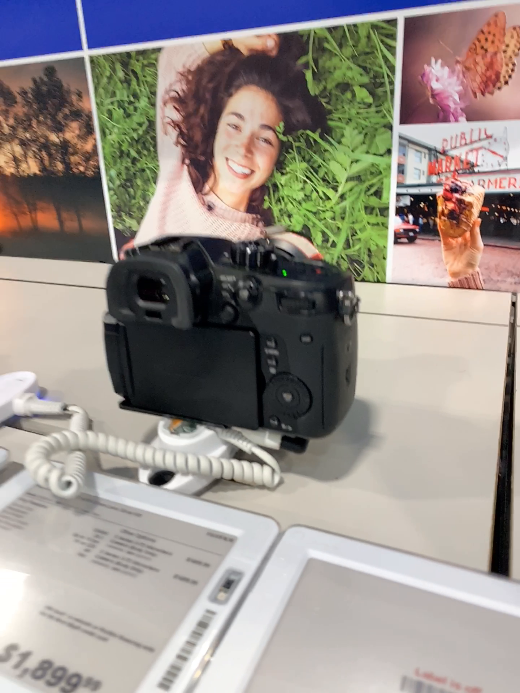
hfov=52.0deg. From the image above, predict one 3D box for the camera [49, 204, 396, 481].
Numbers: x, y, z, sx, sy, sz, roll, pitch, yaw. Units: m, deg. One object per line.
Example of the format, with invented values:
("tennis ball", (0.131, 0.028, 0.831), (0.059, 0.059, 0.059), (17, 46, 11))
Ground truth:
("camera", (-0.001, -0.027, 0.347), (0.140, 0.099, 0.201), (6, 24, 22))
